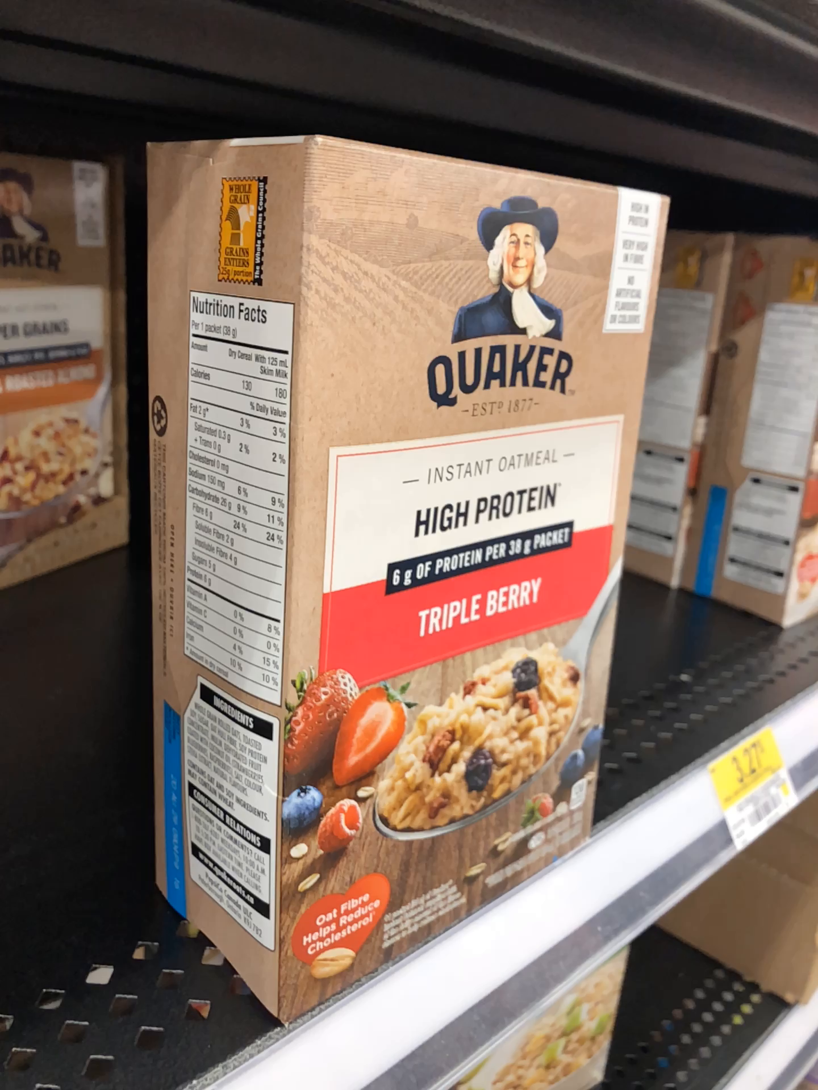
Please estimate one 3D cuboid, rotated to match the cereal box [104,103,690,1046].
[{"bbox_3d":[-0.002,0.001,0.252,0.130,0.199,0.070,-12,22,-42],"label":"cereal box"}]
